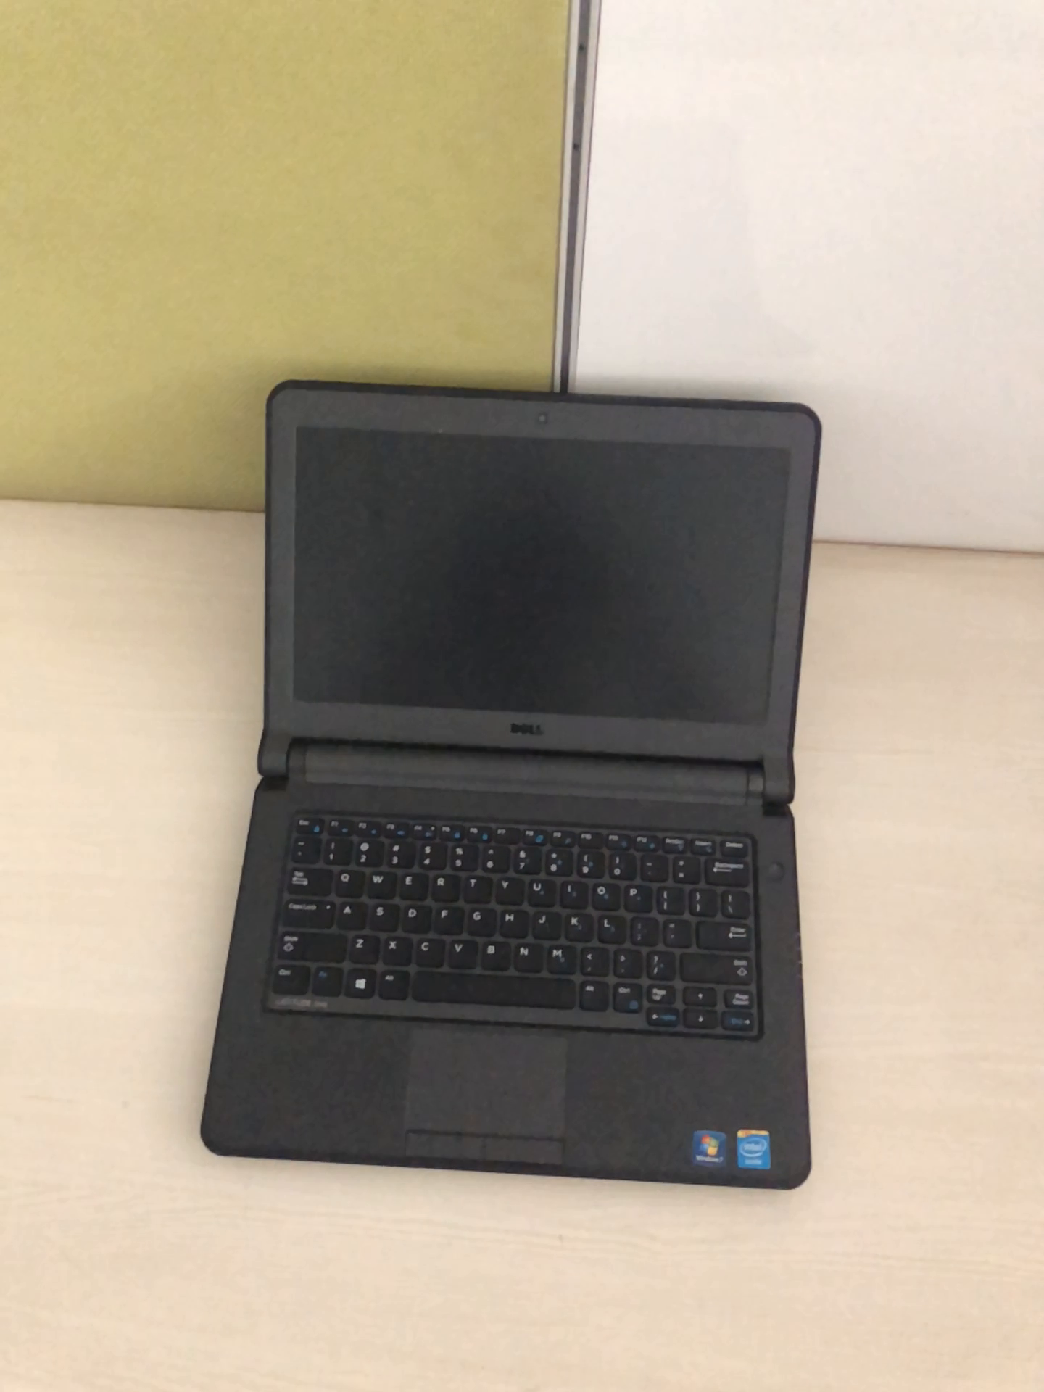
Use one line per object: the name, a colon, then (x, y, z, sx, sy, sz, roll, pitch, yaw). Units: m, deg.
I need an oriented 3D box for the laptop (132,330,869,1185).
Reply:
laptop: (0.001, 0.024, 0.623, 0.316, 0.123, 0.416, 3, 68, 1)
